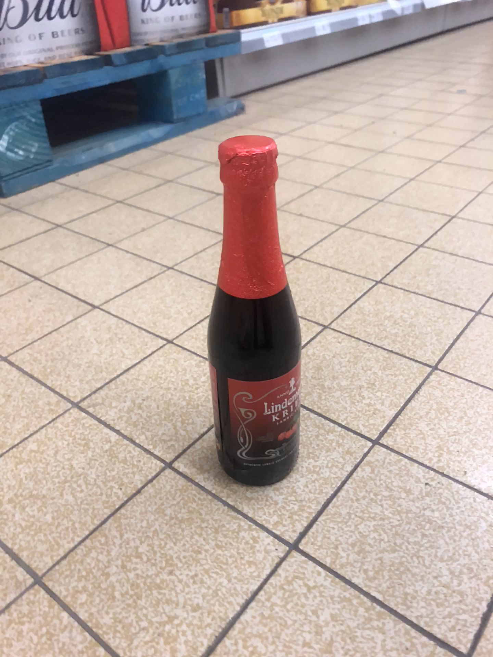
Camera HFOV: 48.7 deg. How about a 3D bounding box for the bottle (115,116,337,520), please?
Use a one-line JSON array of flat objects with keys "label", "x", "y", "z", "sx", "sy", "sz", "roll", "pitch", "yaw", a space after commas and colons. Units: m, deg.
[{"label": "bottle", "x": -0.005, "y": -0.001, "z": 0.298, "sx": 0.070, "sy": 0.199, "sz": 0.070, "roll": -2, "pitch": 34, "yaw": 1}]
